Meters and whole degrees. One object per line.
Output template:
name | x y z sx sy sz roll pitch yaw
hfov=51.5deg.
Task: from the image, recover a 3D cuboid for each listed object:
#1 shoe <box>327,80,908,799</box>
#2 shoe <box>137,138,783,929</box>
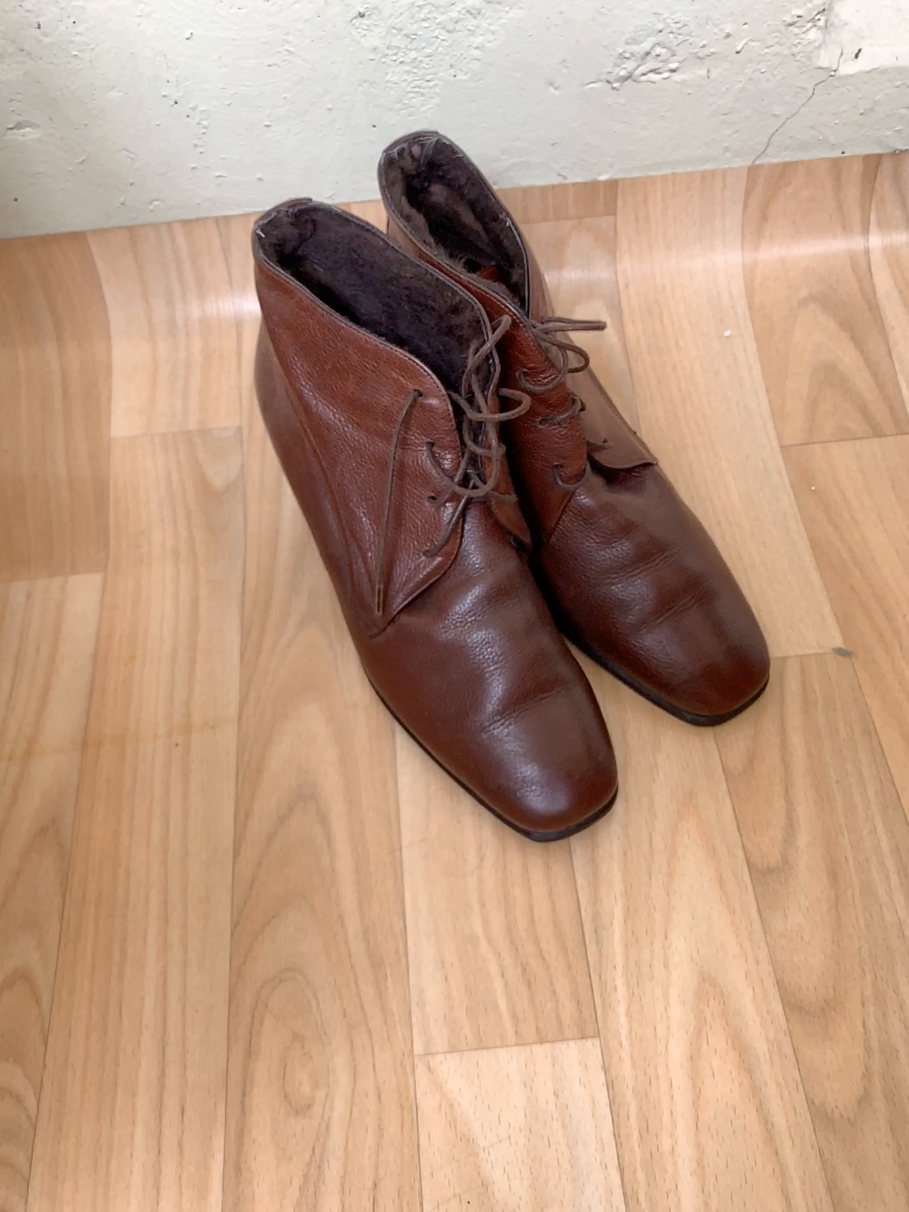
shoe | 0.054 -0.060 0.357 0.080 0.150 0.220 -32 64 -14
shoe | -0.009 -0.022 0.327 0.080 0.150 0.220 -28 63 -12
